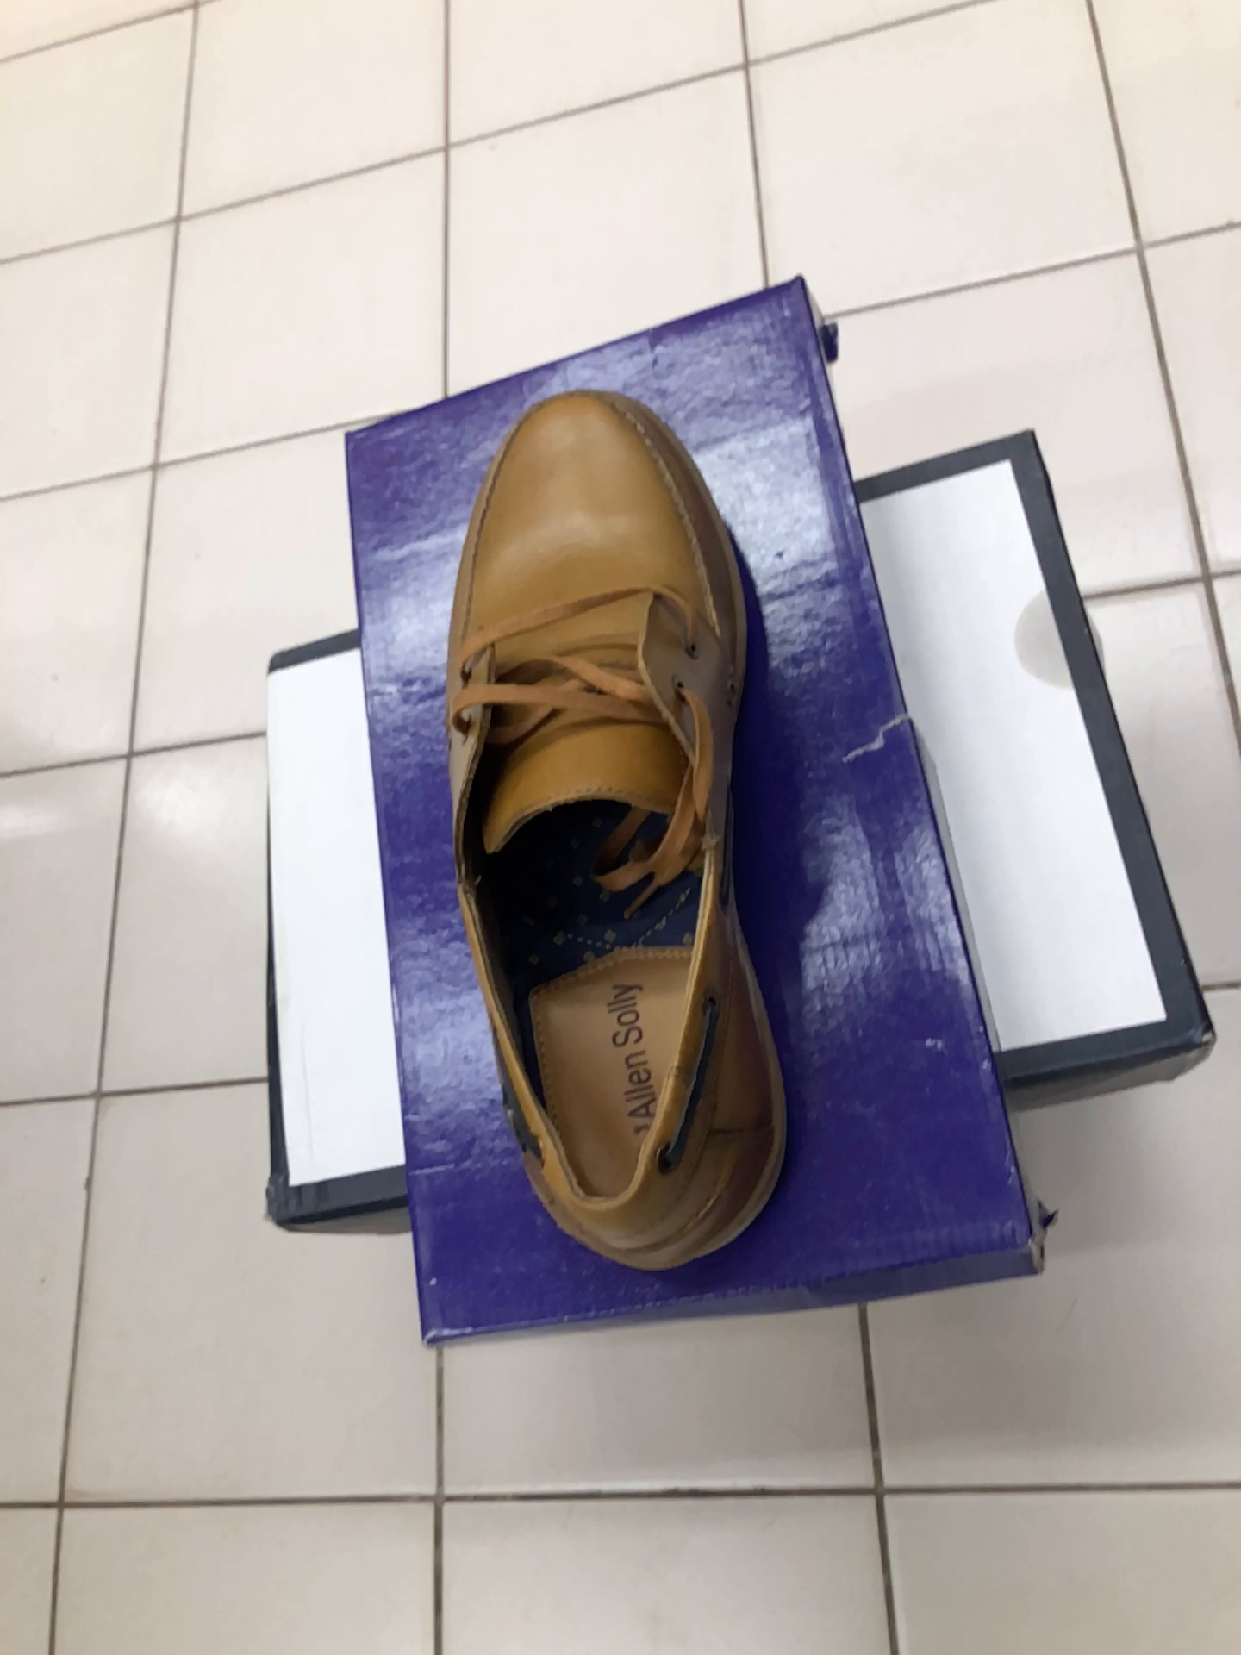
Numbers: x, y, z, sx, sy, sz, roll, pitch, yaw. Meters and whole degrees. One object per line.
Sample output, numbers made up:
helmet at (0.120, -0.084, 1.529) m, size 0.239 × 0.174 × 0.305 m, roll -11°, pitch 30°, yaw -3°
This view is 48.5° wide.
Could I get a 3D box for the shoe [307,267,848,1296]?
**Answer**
shoe at (-0.014, -0.008, 0.399) m, size 0.100 × 0.110 × 0.261 m, roll -12°, pitch 69°, yaw 13°
